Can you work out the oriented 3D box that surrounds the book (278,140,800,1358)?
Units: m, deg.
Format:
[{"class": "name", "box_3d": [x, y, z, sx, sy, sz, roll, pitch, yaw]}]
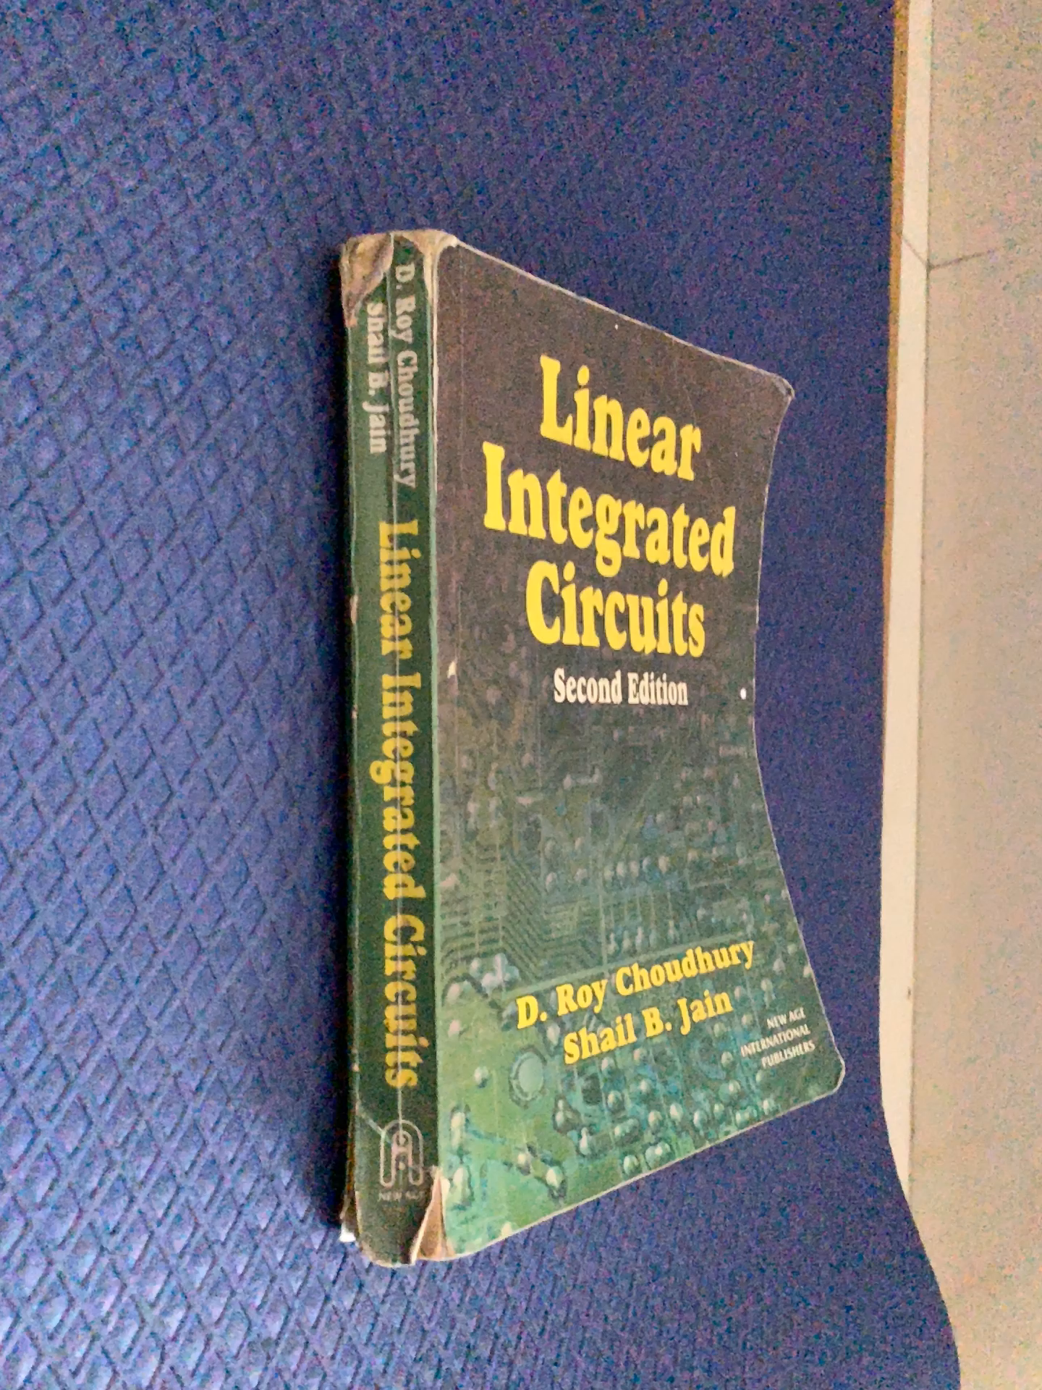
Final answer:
[{"class": "book", "box_3d": [0.018, 0.011, 0.325, 0.191, 0.040, 0.270, 3, 85, -49]}]
